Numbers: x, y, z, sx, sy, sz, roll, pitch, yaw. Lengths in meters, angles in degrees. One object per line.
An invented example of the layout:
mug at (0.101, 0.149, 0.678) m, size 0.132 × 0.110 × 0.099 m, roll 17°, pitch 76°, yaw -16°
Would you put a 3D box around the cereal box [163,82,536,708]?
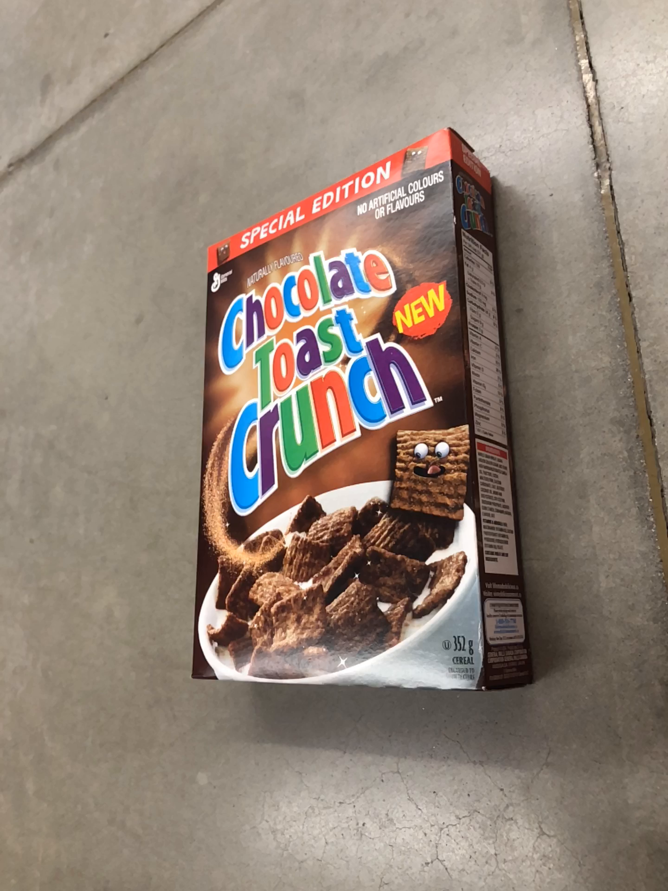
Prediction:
cereal box at (0.003, -0.019, 0.427) m, size 0.191 × 0.070 × 0.310 m, roll -12°, pitch 69°, yaw 37°
